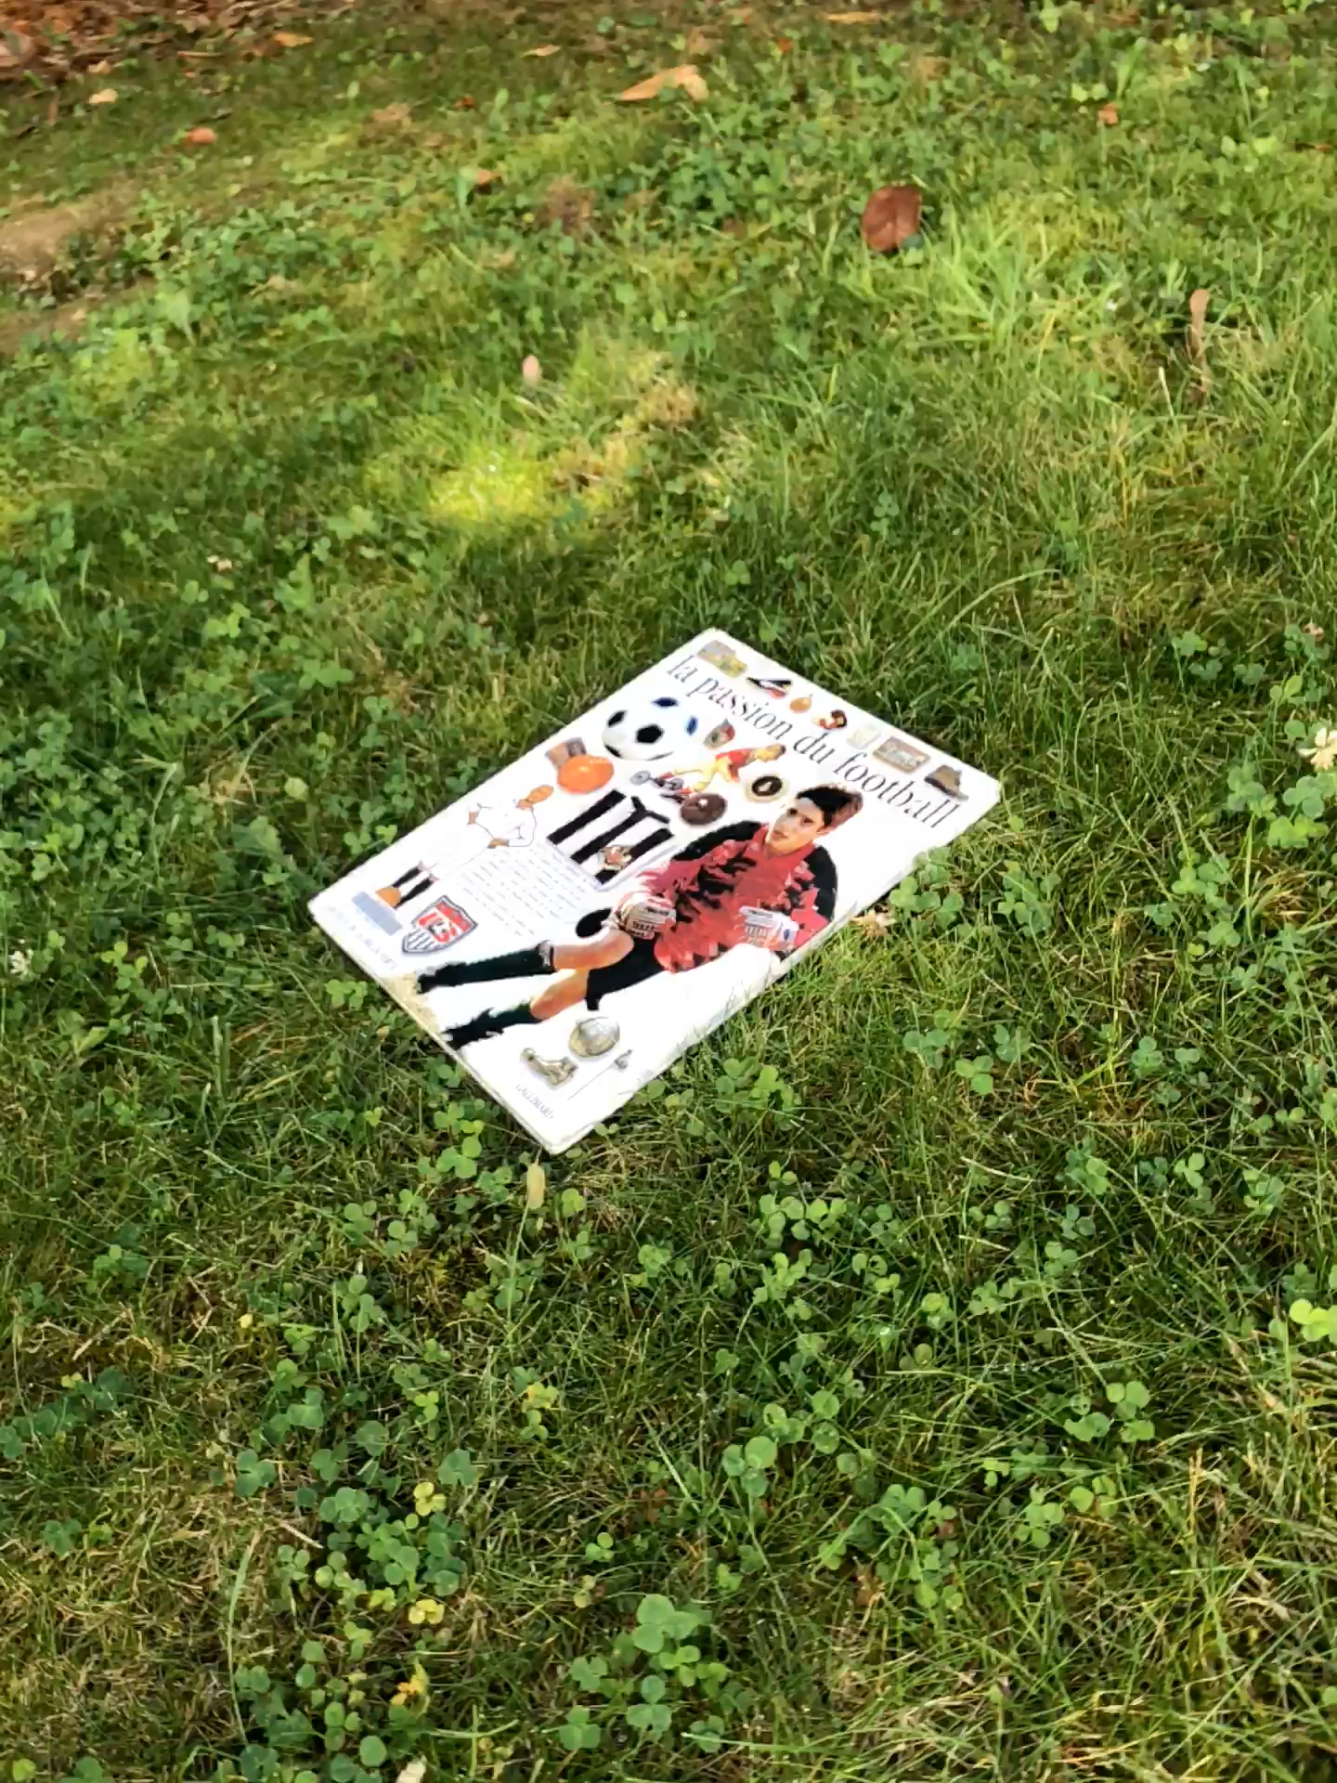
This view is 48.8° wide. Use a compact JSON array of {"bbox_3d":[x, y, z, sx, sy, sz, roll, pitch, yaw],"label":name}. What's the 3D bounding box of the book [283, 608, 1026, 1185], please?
[{"bbox_3d":[-0.011,-0.021,0.740,0.301,0.020,0.230,-36,48,-20],"label":"book"}]
